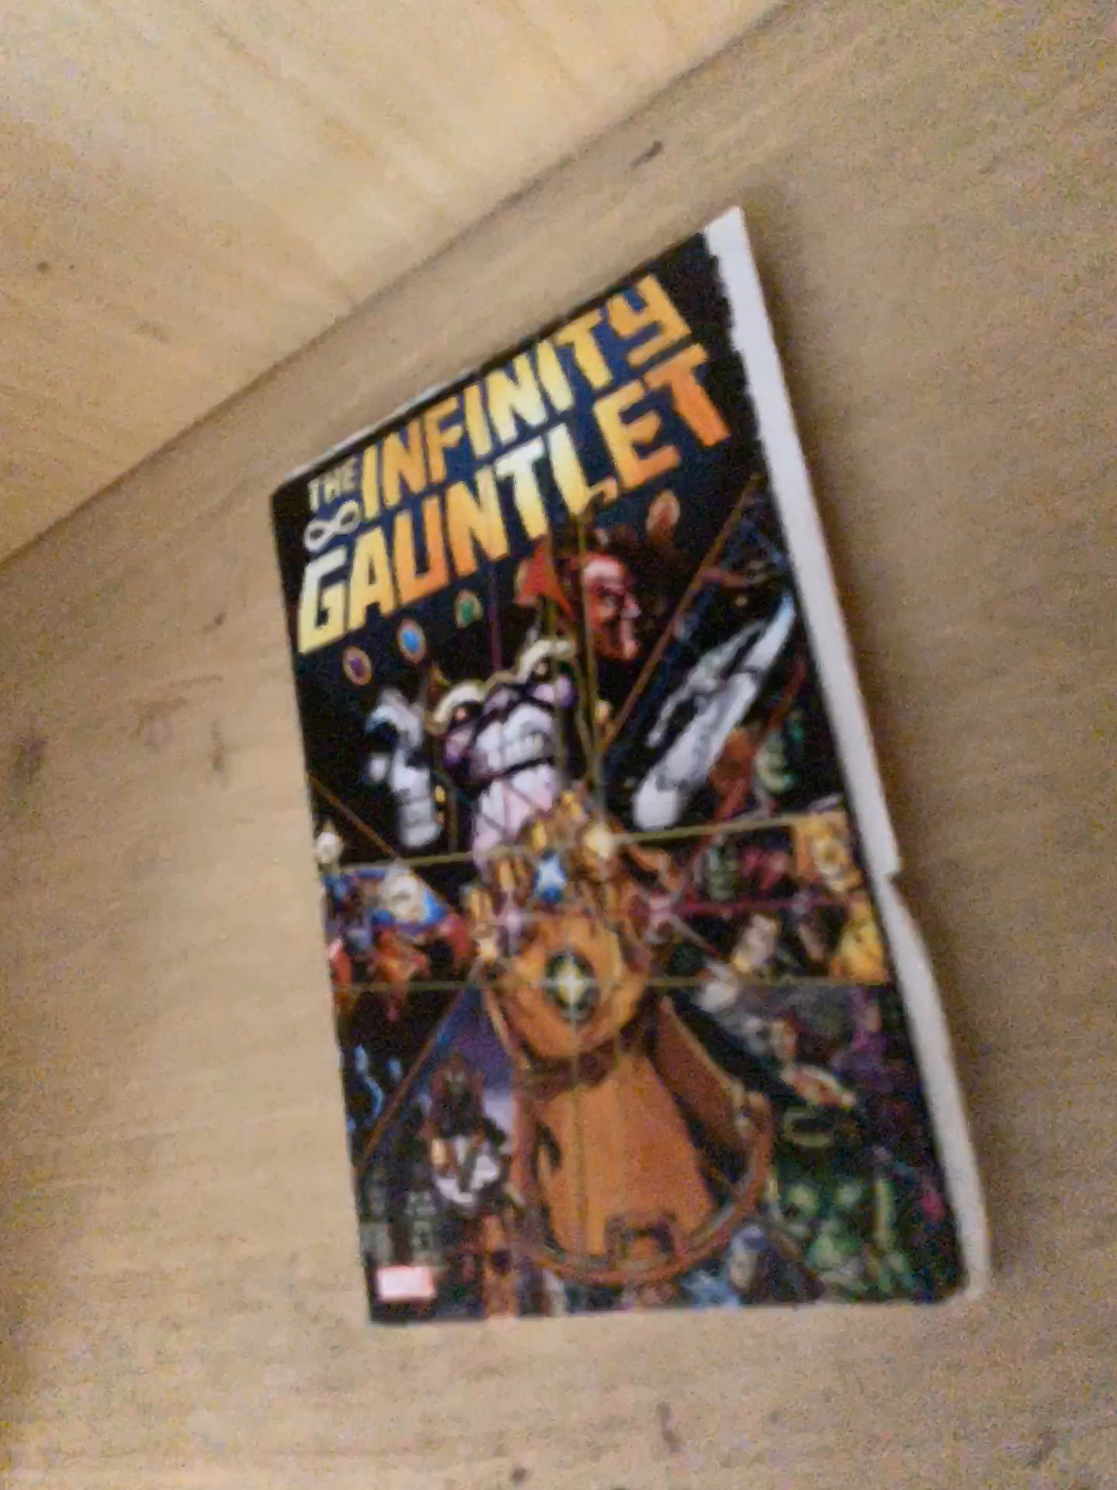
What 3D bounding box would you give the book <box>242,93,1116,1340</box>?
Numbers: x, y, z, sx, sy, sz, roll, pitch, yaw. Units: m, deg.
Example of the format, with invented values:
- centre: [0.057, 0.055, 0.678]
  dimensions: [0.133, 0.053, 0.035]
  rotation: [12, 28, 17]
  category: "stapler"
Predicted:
- centre: [0.002, 0.001, 0.295]
  dimensions: [0.191, 0.030, 0.271]
  rotation: [-21, 70, 32]
  category: "book"
